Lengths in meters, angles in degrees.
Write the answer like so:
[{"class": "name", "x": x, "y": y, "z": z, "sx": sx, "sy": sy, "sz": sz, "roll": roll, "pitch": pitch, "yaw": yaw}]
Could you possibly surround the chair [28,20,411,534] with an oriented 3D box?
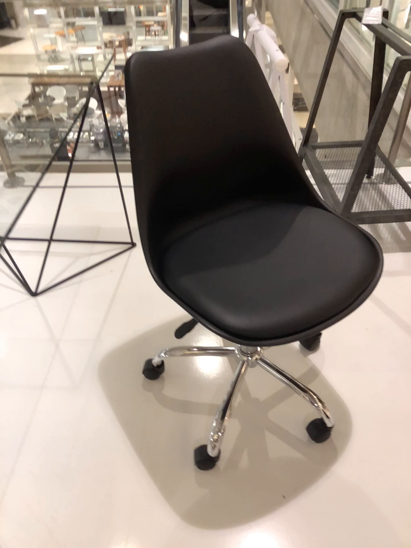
[{"class": "chair", "x": 0.106, "y": -0.025, "z": 1.058, "sx": 0.631, "sy": 0.824, "sz": 0.634, "roll": -24, "pitch": 46, "yaw": -23}]
